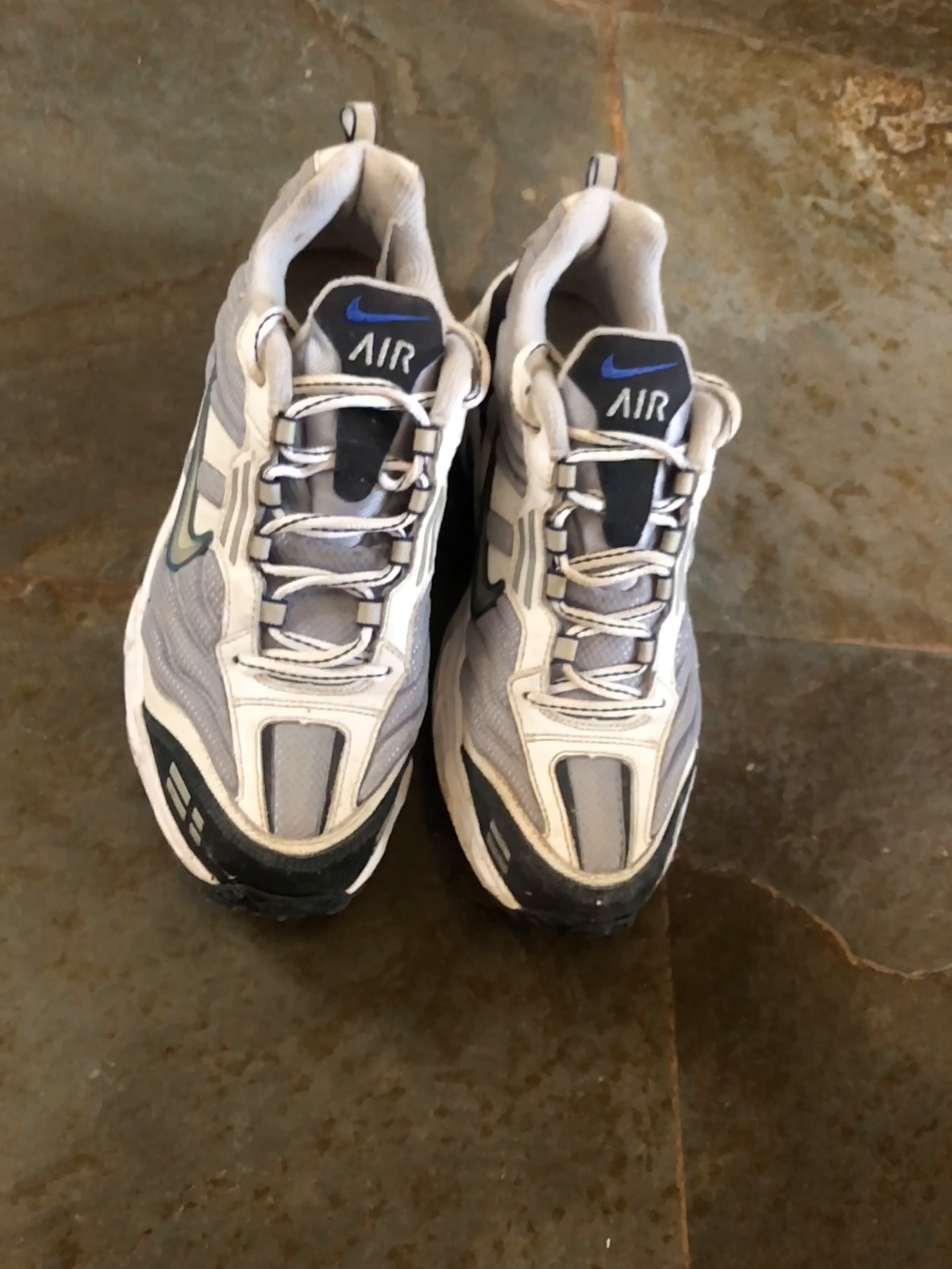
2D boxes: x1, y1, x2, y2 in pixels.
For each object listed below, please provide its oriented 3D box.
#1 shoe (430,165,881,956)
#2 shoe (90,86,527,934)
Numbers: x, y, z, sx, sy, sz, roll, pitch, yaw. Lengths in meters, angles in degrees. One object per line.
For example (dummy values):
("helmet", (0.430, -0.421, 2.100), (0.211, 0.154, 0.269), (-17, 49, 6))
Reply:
("shoe", (0.048, -0.022, 0.389), (0.110, 0.110, 0.261), (4, 68, -13))
("shoe", (-0.056, -0.036, 0.371), (0.110, 0.120, 0.261), (4, 68, -13))
